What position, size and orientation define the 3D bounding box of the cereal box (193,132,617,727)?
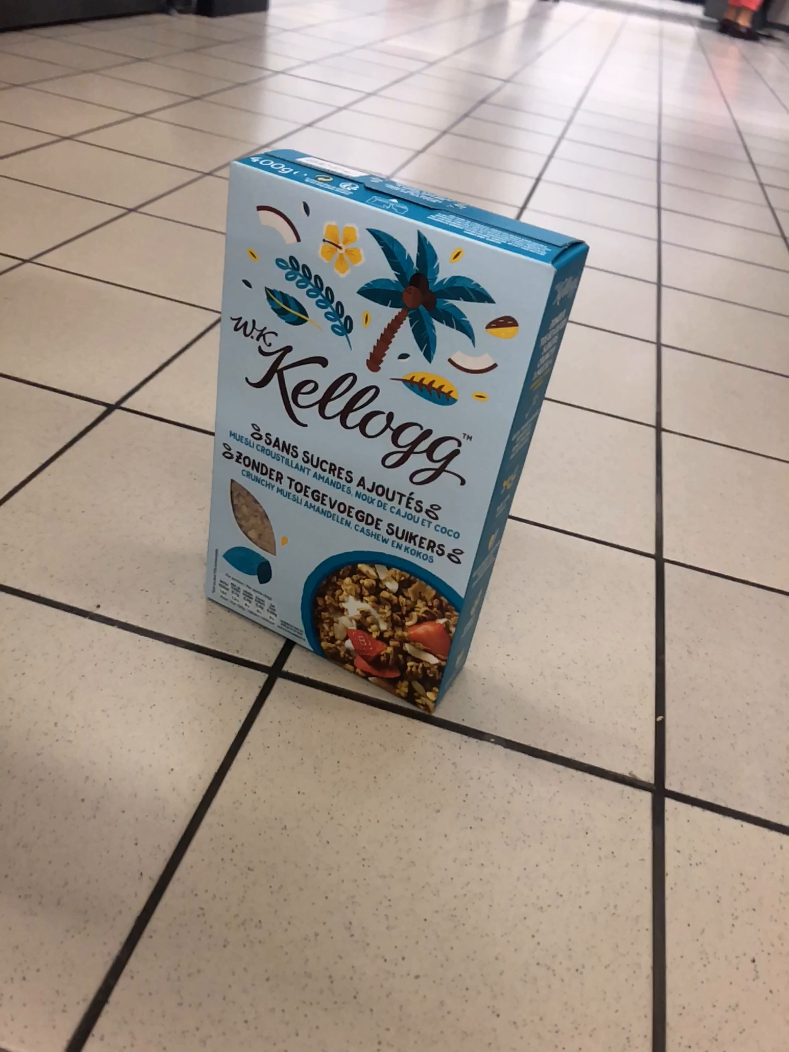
[{"bbox_3d":[-0.013,-0.039,0.415,0.160,0.238,0.050,25,36,19],"label":"cereal box"}]
